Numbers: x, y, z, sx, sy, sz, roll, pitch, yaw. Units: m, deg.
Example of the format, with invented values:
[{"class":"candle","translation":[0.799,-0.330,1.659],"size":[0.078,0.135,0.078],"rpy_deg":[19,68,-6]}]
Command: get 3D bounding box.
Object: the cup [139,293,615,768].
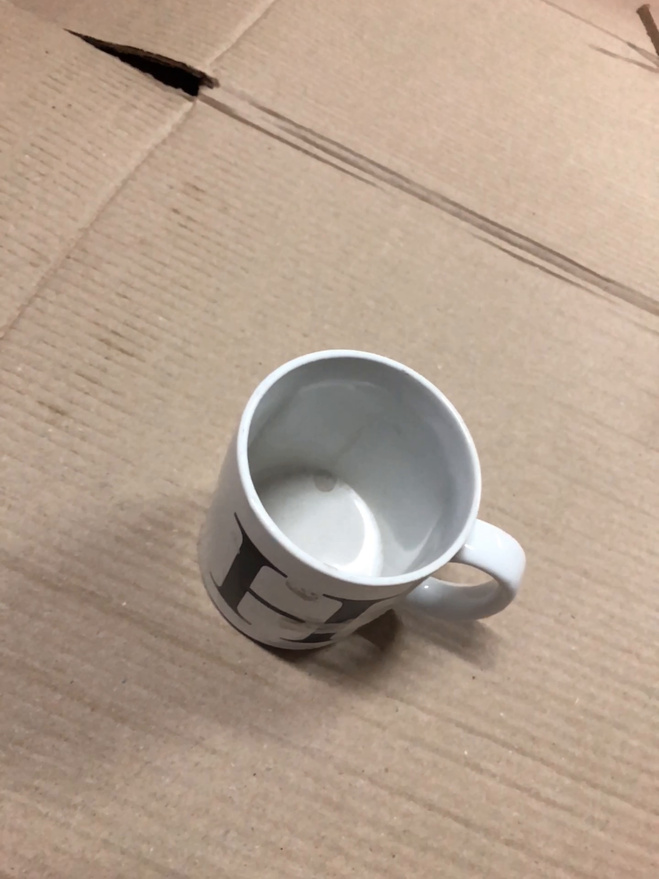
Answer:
[{"class":"cup","translation":[0.010,0.035,0.242],"size":[0.110,0.099,0.080],"rpy_deg":[28,54,0]}]
